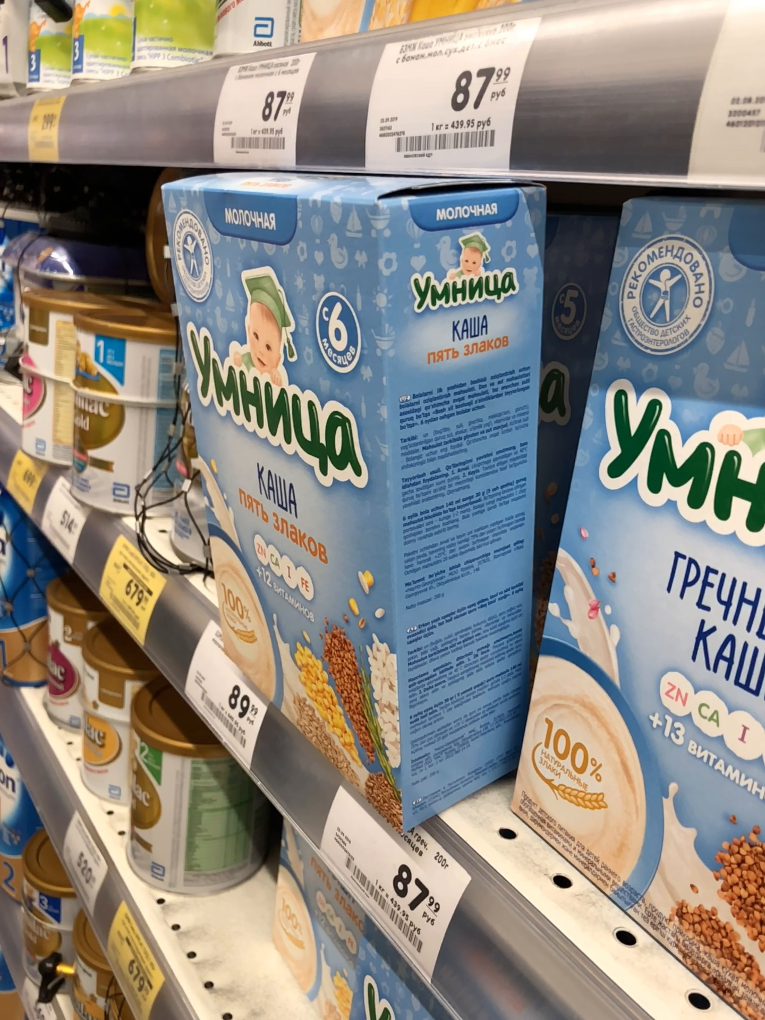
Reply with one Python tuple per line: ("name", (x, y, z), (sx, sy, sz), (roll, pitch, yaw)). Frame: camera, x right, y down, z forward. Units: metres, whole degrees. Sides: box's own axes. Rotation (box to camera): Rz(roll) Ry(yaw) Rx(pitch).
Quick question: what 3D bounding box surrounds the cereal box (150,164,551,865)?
("cereal box", (-0.012, -0.009, 0.306), (0.060, 0.209, 0.140), (-18, 27, -30))
